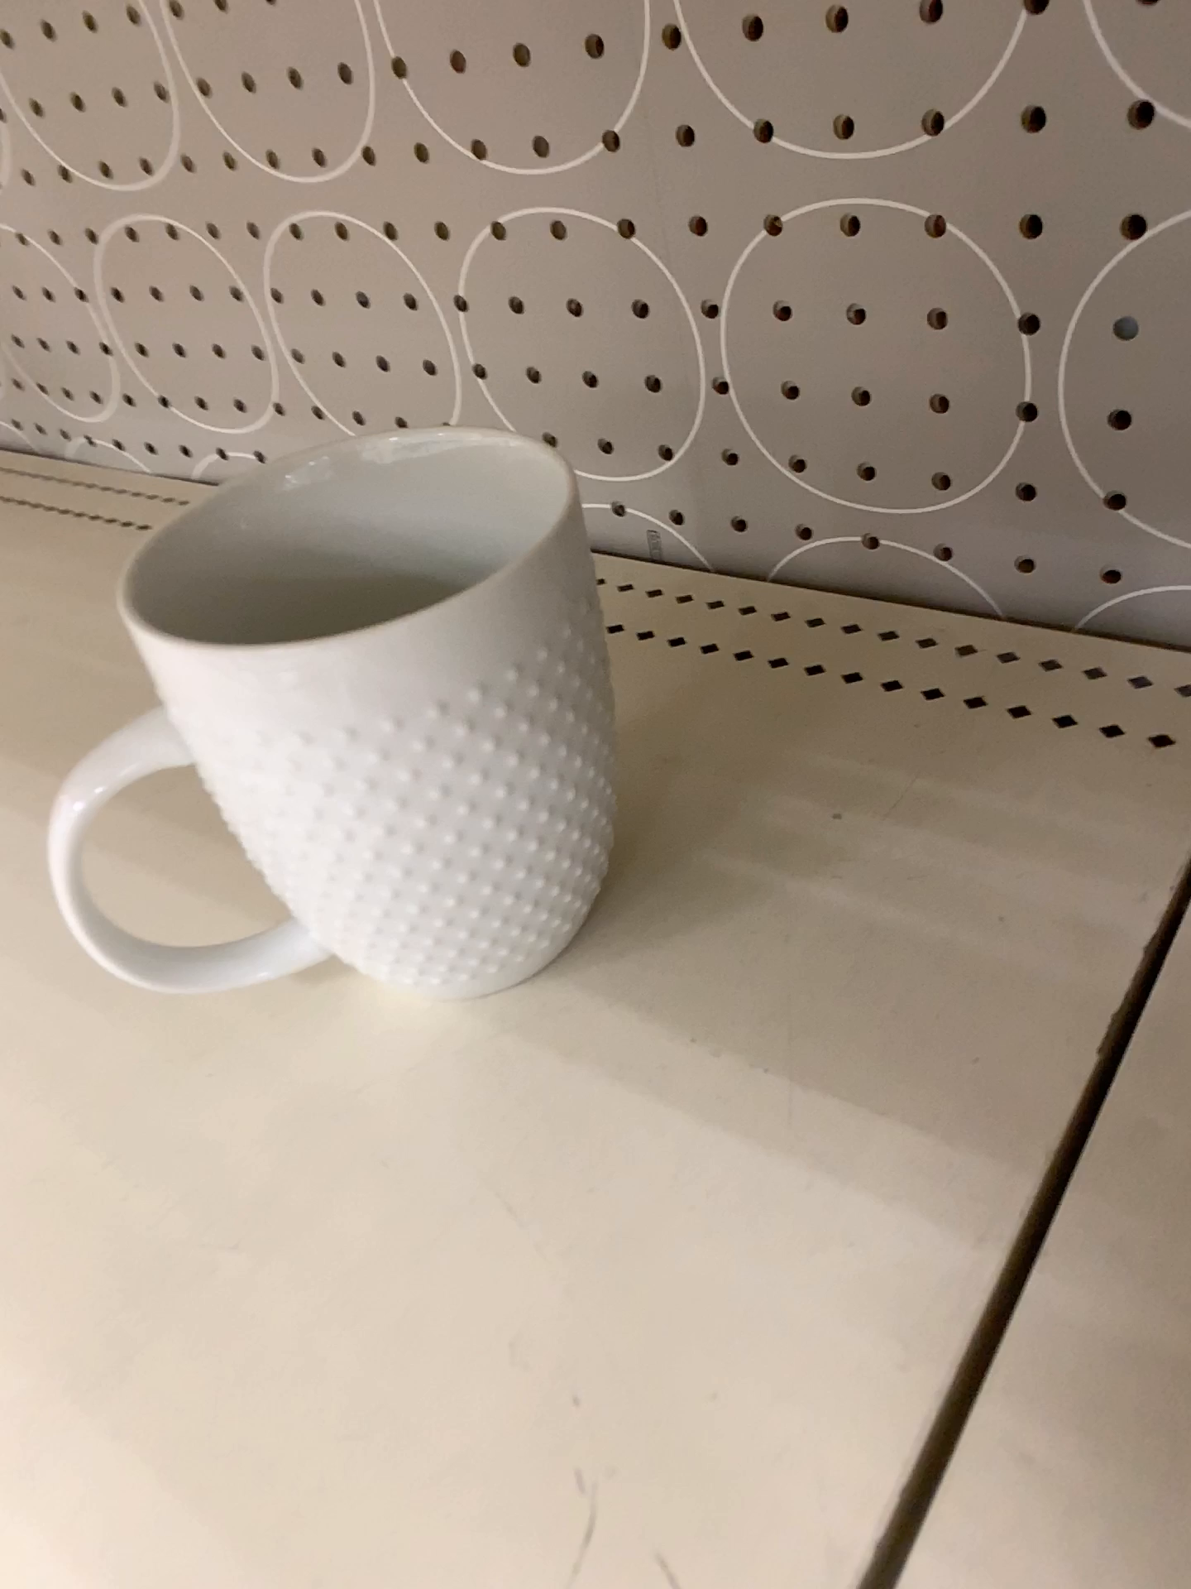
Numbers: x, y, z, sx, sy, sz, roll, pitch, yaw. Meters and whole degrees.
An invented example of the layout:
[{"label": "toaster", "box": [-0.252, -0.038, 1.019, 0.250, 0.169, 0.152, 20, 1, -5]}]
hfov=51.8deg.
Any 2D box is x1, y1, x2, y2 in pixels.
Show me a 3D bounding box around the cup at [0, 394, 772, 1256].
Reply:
[{"label": "cup", "box": [-0.050, -0.001, 0.268, 0.137, 0.105, 0.094, -29, 41, -18]}]
